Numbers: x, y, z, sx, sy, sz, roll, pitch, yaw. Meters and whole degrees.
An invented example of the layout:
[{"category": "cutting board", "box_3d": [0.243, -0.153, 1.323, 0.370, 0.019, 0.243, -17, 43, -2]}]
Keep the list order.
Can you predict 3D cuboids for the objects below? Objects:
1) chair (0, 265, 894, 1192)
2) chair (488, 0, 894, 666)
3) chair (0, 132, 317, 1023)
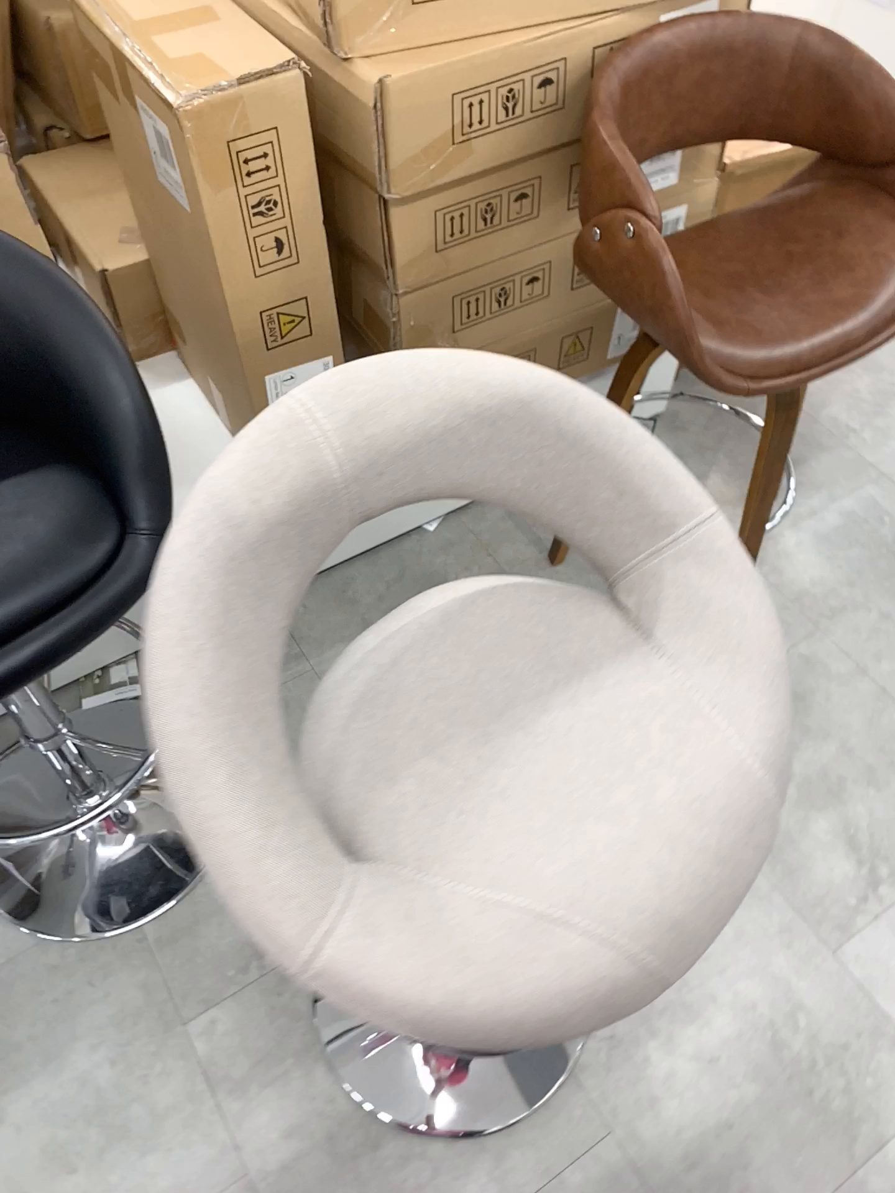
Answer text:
[{"category": "chair", "box_3d": [0.014, 0.271, 0.988, 0.485, 0.980, 0.466, -34, 61, -24]}, {"category": "chair", "box_3d": [0.443, -0.422, 1.605, 0.534, 0.911, 0.577, -13, 54, -11]}, {"category": "chair", "box_3d": [-0.552, 0.057, 1.153, 0.495, 0.940, 0.486, -34, 61, -24]}]
